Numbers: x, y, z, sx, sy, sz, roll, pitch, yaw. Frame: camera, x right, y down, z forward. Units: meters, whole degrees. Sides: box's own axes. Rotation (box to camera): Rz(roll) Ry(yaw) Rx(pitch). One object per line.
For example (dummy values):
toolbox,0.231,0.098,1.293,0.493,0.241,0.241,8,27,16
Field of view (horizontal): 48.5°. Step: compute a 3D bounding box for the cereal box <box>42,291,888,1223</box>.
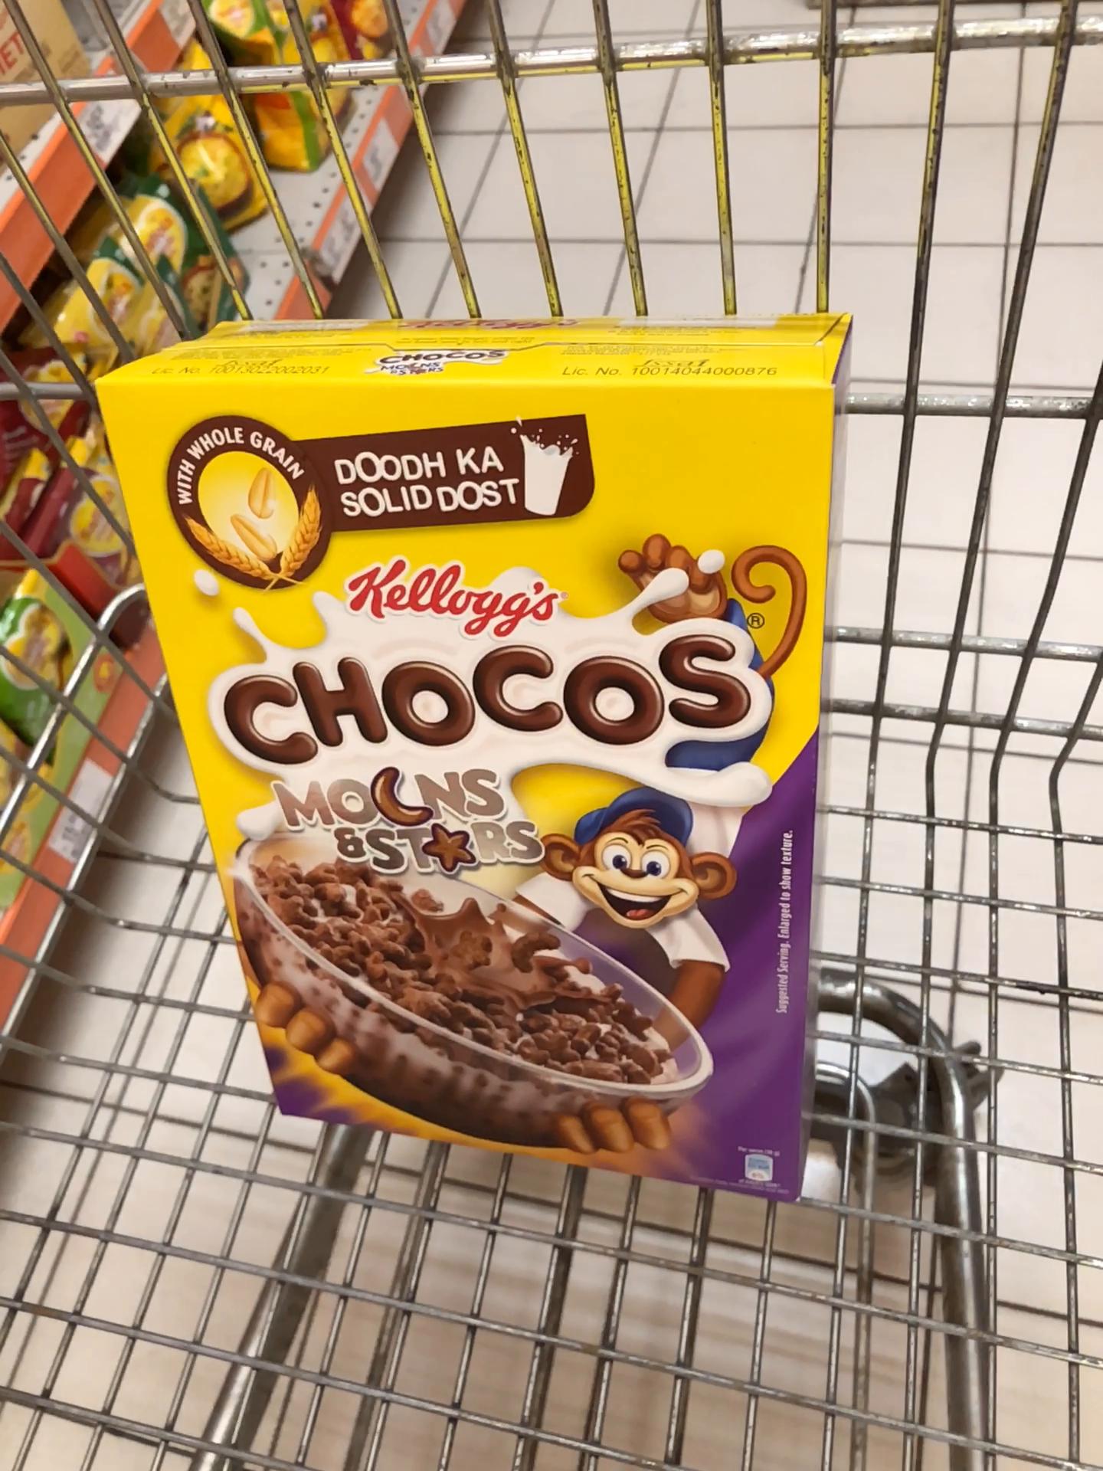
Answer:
cereal box,-0.011,0.011,0.353,0.190,0.249,0.070,4,30,14
